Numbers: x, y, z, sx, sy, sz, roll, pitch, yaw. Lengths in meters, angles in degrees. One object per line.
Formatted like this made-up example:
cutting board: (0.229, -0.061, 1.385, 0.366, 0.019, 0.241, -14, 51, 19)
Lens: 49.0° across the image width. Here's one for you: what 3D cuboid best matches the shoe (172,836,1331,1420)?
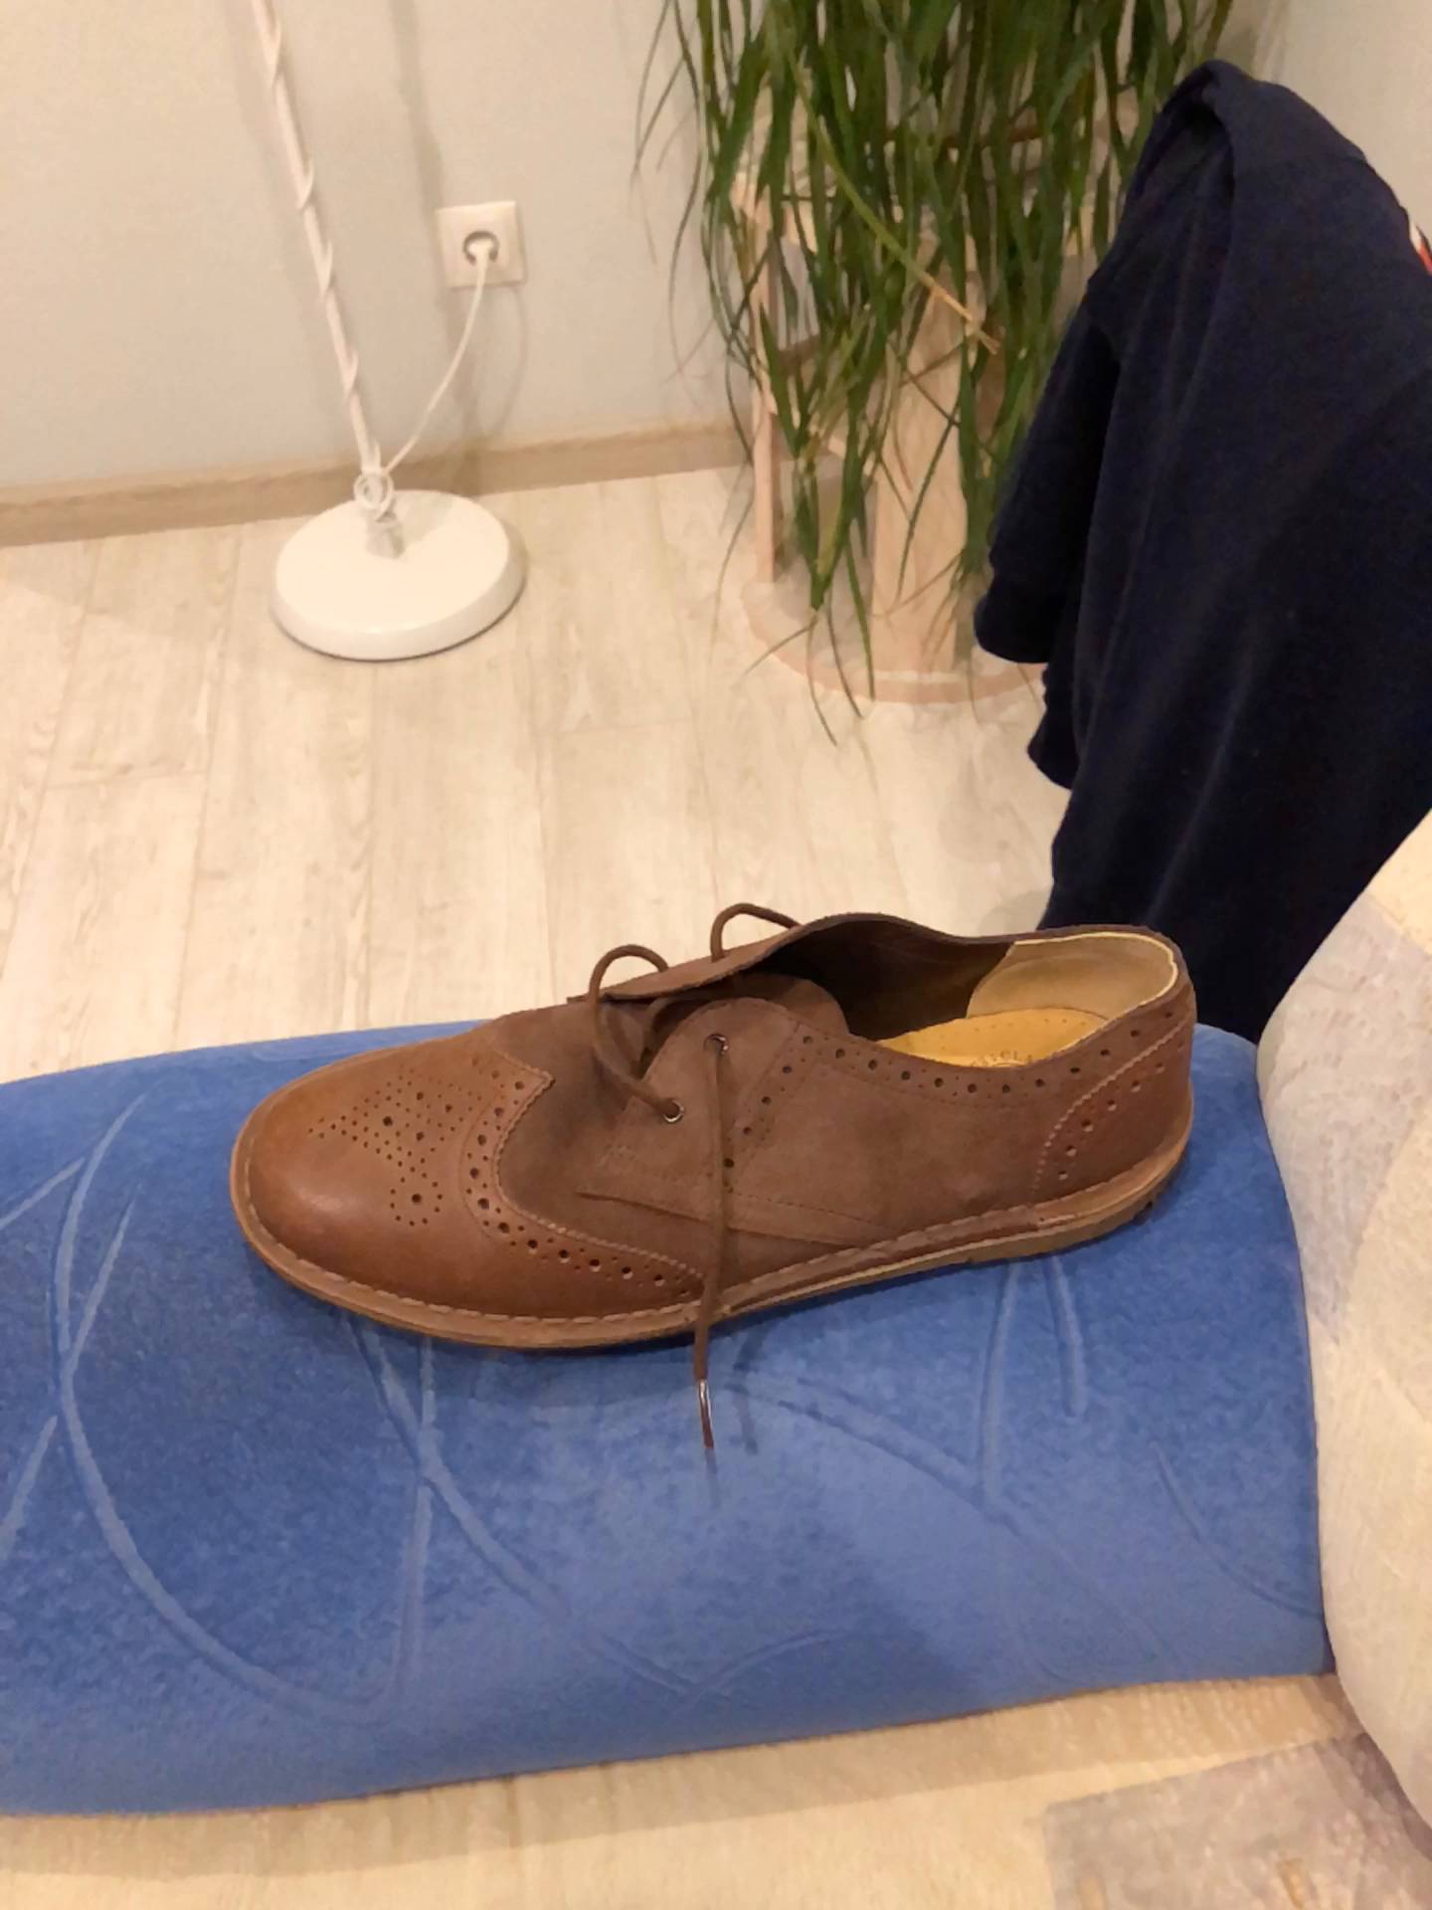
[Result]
shoe: (0.007, 0.051, 0.490, 0.313, 0.089, 0.114, -7, 49, -4)
